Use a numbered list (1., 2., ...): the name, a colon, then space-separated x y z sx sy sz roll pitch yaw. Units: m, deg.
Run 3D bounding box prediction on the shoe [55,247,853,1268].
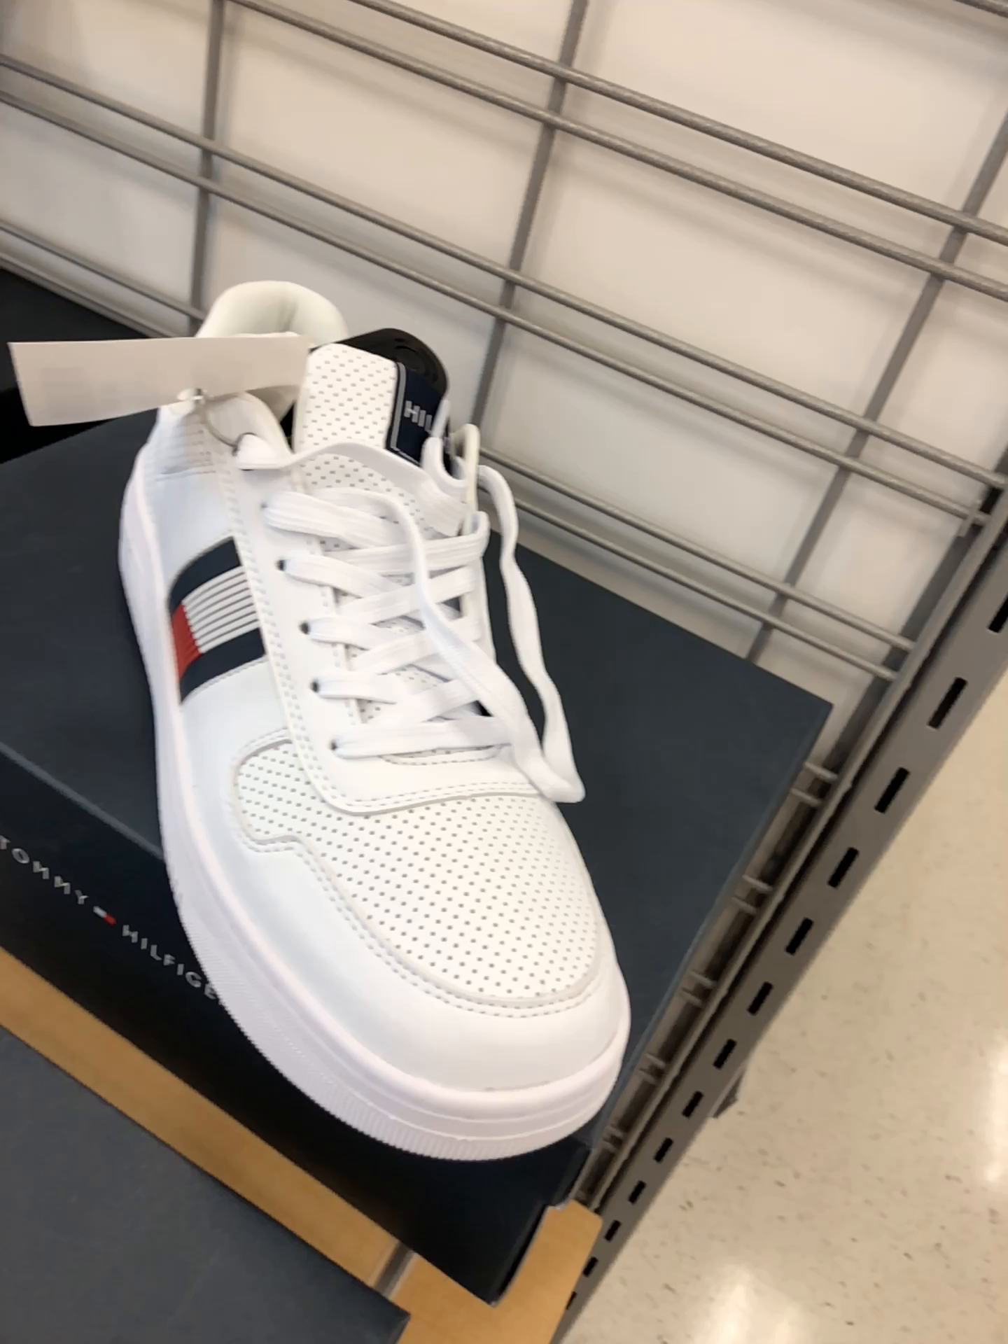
1. shoe: -0.049 -0.009 0.324 0.110 0.109 0.282 -6 42 -28
